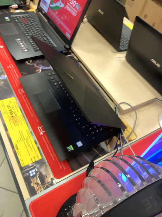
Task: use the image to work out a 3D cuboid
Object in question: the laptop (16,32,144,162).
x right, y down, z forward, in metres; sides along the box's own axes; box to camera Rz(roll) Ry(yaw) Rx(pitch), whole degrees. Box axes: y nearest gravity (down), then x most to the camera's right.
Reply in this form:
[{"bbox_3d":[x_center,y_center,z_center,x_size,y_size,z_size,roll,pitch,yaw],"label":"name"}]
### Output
[{"bbox_3d":[-0.033,-0.074,0.635,0.258,0.166,0.395,-19,57,-26],"label":"laptop"}]
